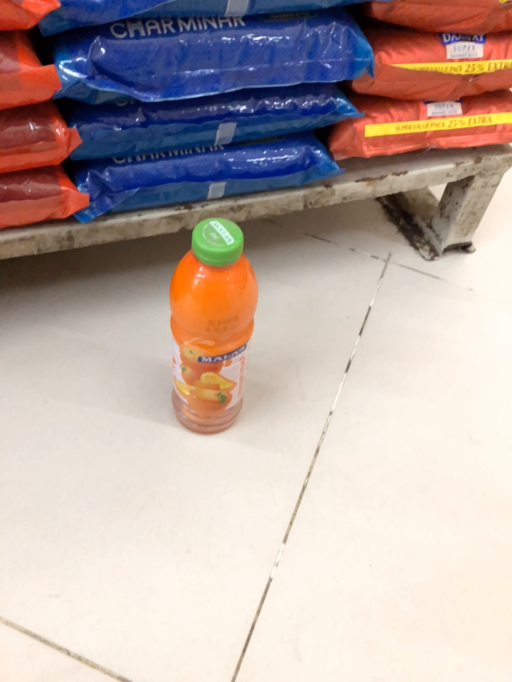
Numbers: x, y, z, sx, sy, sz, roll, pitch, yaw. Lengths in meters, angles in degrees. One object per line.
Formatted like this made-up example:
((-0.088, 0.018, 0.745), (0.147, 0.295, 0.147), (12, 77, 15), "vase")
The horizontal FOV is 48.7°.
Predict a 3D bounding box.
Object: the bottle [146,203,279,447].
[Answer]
((-0.047, -0.002, 0.521), (0.090, 0.239, 0.090), (4, 53, -5), "bottle")
